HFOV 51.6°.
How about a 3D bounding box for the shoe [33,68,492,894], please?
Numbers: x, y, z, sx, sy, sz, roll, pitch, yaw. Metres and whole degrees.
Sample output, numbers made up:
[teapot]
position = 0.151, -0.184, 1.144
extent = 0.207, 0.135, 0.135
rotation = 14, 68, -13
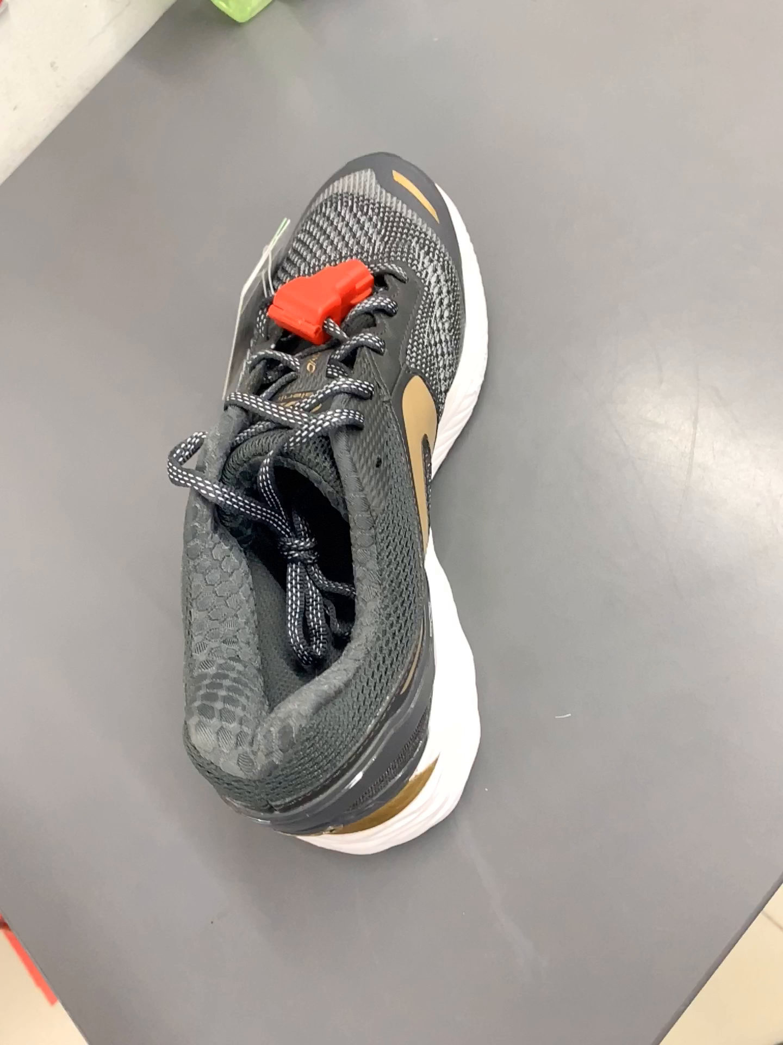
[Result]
[shoe]
position = -0.025, -0.015, 0.273
extent = 0.100, 0.090, 0.240
rotation = -2, 70, 16
